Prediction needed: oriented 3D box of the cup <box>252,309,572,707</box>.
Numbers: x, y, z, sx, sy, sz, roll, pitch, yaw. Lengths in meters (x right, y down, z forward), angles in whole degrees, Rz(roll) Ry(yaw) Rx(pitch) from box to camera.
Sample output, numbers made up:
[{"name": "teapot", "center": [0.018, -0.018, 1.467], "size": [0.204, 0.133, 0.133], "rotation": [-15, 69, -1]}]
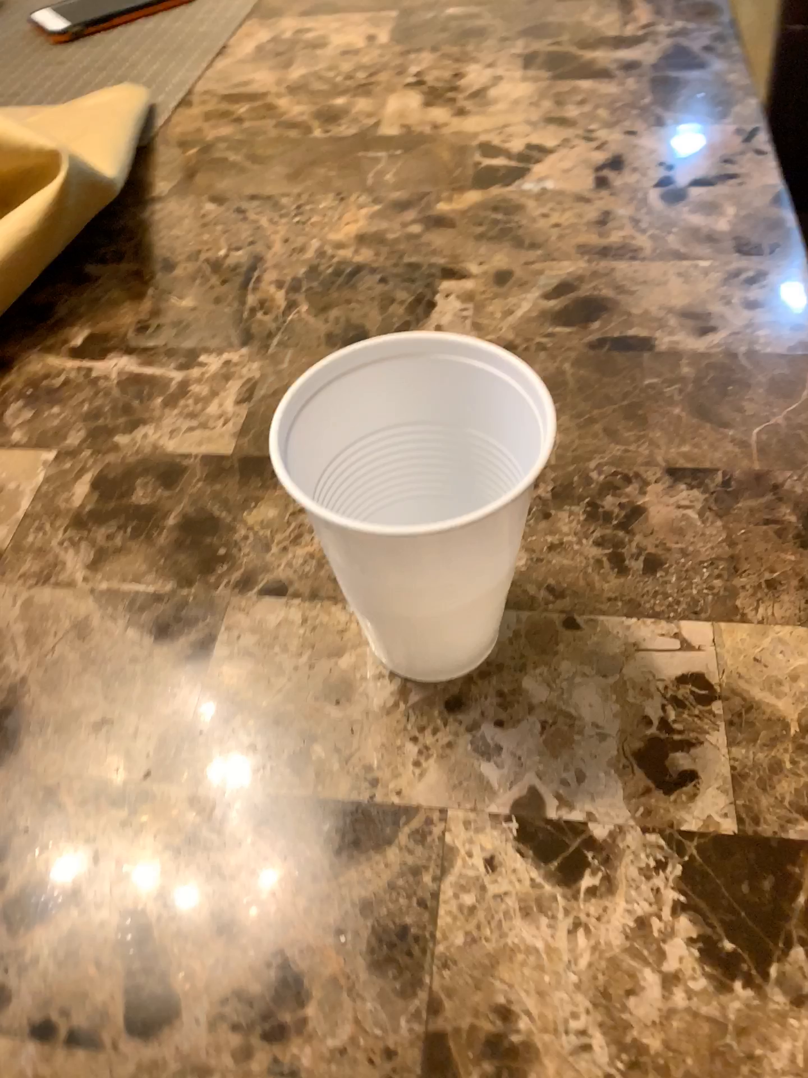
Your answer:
[{"name": "cup", "center": [0.005, -0.008, 0.258], "size": [0.077, 0.083, 0.082], "rotation": [-4, 50, 5]}]
